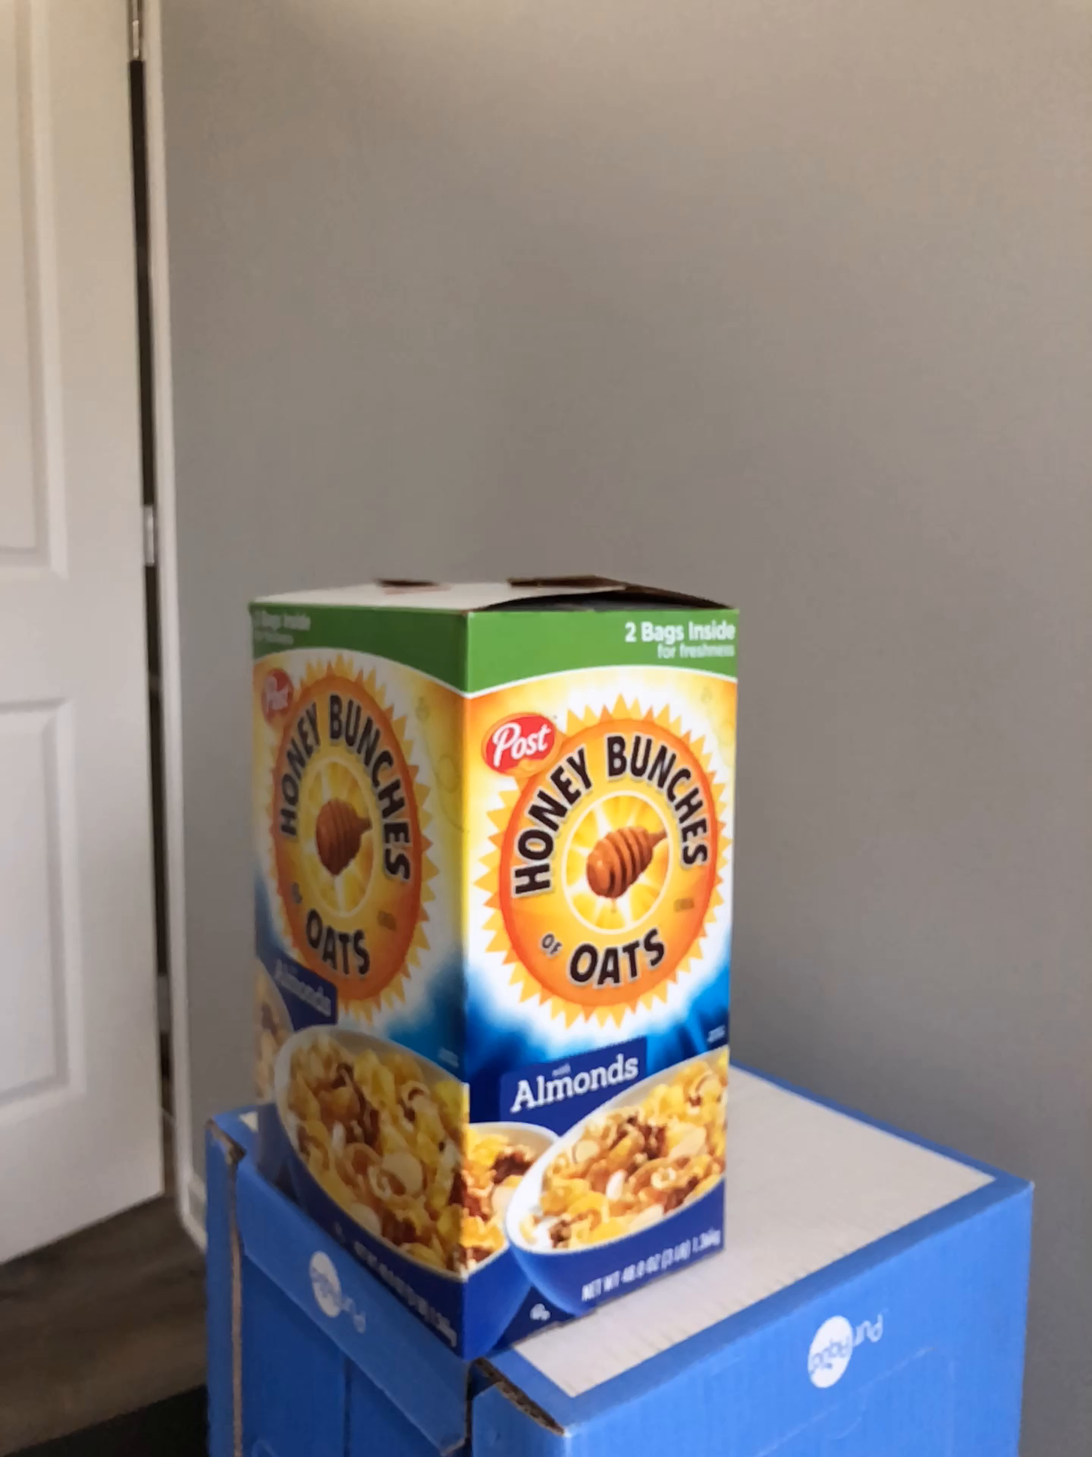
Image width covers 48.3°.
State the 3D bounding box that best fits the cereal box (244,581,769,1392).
[{"bbox_3d":[-0.027,0.084,0.563,0.150,0.300,0.200,-4,7,-36],"label":"cereal box"}]
